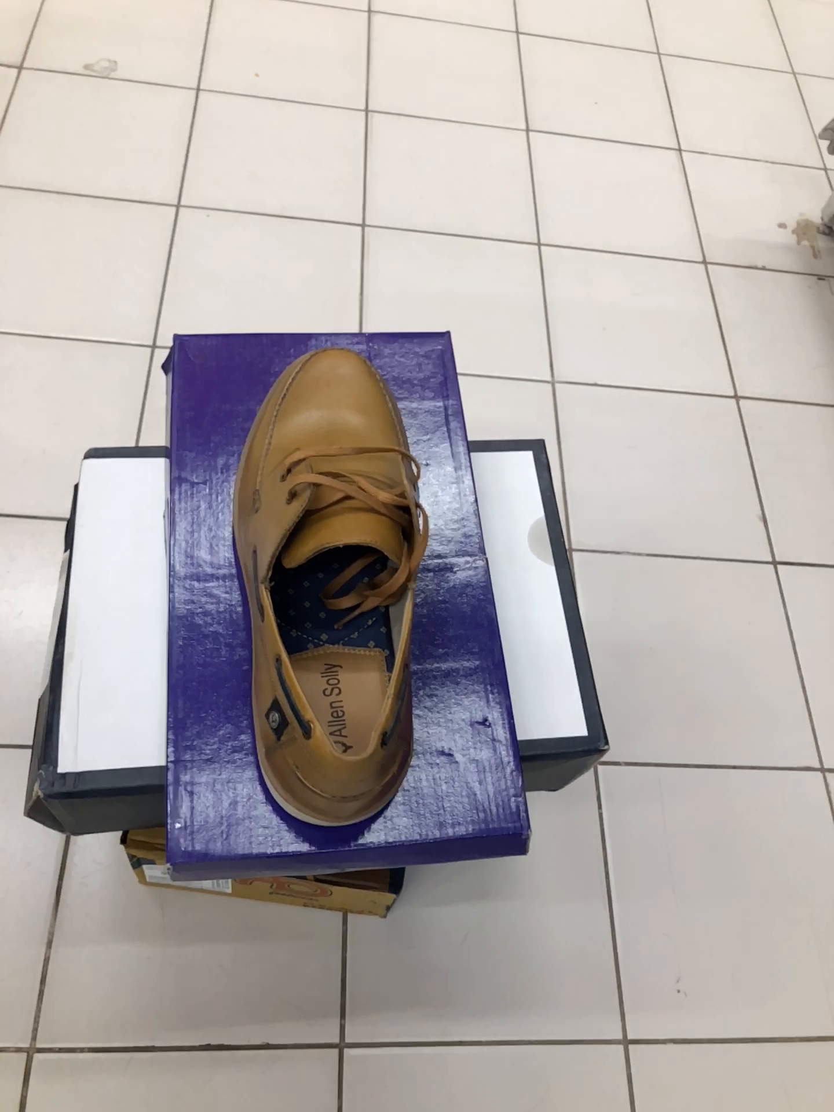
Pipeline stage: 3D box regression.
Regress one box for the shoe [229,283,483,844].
[{"bbox_3d":[-0.041,0.000,0.471,0.100,0.109,0.261,1,61,-10],"label":"shoe"}]
